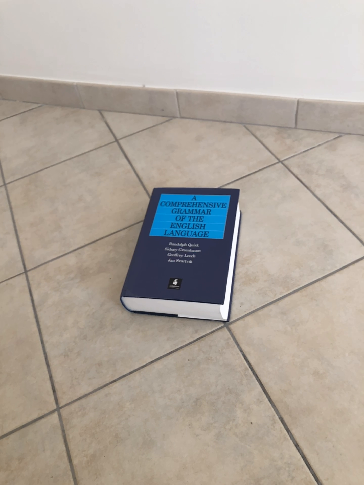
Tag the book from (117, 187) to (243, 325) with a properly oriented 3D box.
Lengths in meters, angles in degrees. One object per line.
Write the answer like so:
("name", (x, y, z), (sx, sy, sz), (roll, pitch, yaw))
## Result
("book", (0.010, 0.012, 0.740), (0.180, 0.066, 0.258), (2, 52, 14))
